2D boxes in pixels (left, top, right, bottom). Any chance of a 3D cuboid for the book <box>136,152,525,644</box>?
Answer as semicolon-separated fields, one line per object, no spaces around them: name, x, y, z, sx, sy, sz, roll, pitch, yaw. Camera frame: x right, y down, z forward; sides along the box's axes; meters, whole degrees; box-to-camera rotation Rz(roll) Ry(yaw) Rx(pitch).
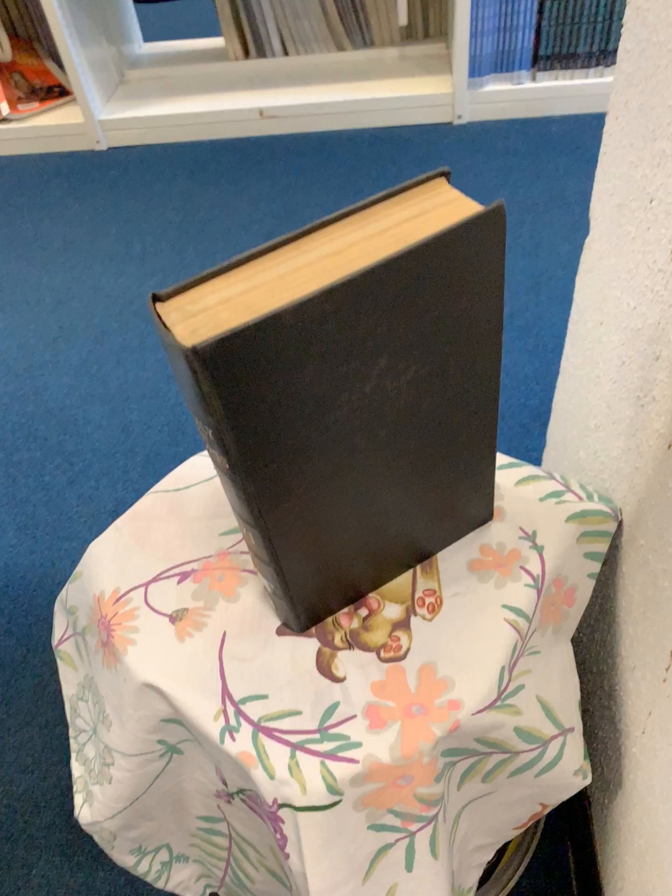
book;0.012;-0.009;0.382;0.162;0.244;0.052;-28;51;-16
